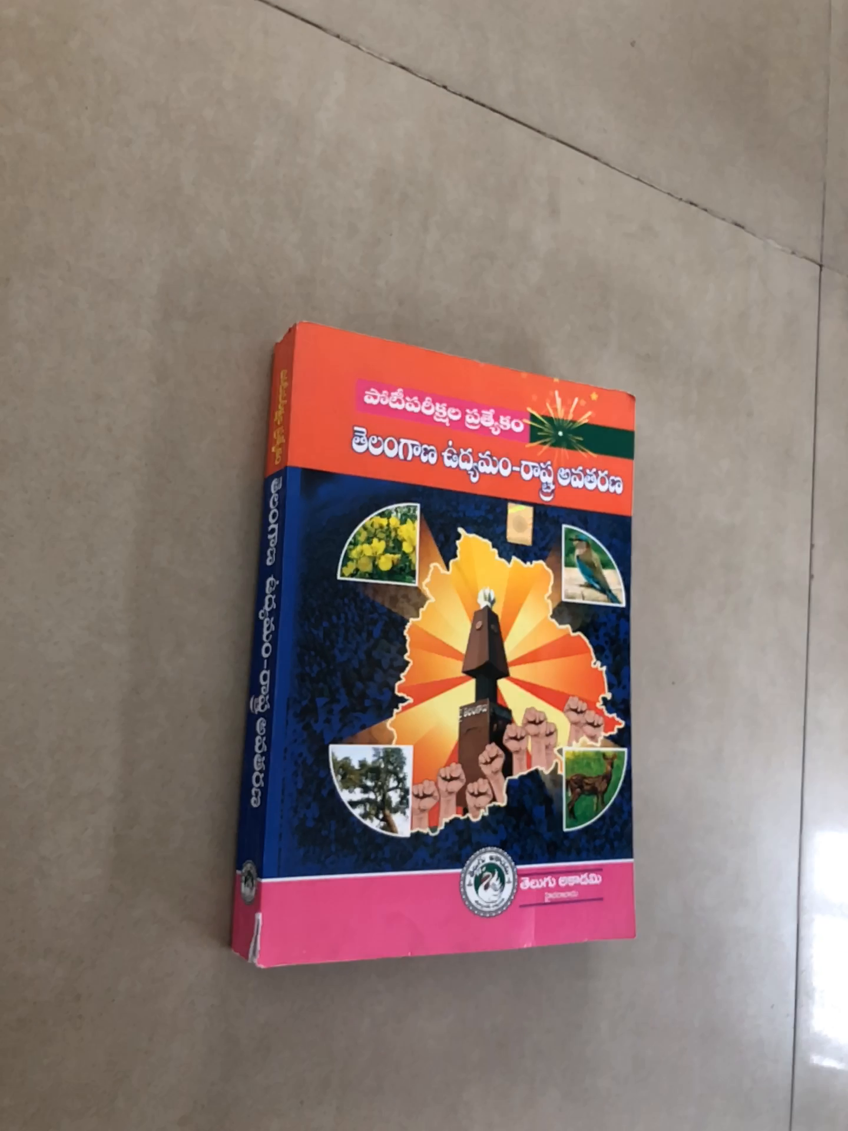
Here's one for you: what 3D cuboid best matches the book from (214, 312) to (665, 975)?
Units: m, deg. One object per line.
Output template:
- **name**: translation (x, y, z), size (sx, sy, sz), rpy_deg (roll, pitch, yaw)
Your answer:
- **book**: translation (0.016, 0.035, 0.438), size (0.202, 0.040, 0.265), rpy_deg (6, 79, -26)
